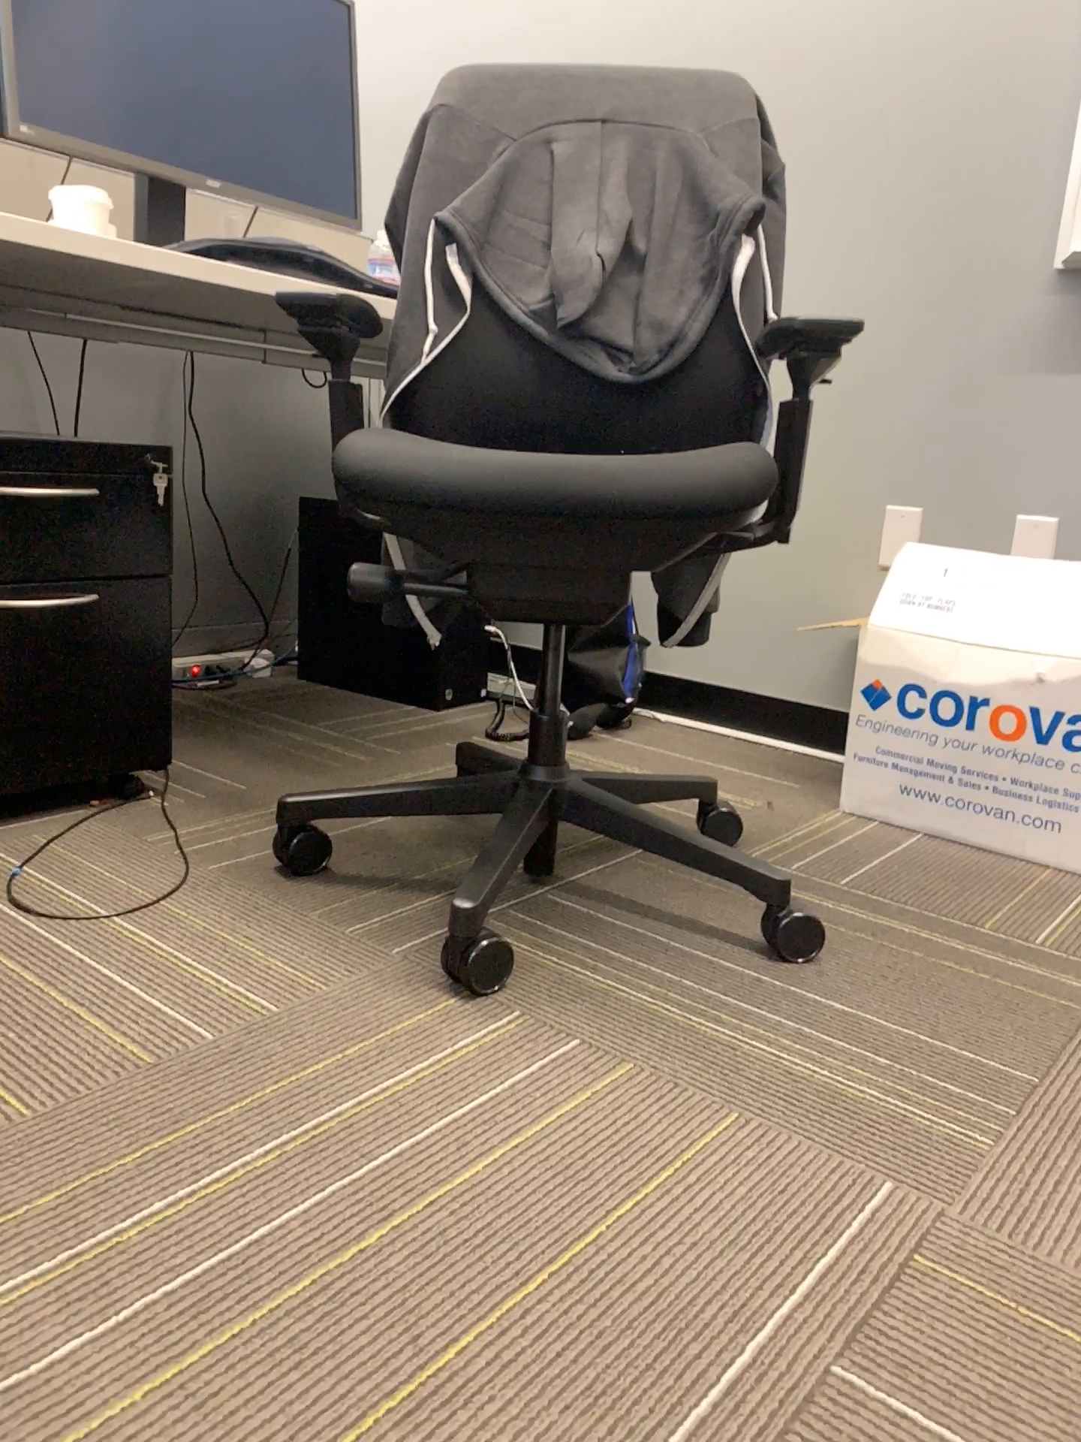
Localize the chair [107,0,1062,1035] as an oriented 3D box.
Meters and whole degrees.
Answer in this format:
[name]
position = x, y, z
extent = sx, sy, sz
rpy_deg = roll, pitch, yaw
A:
[chair]
position = 0.021, -0.352, 1.409
extent = 0.750, 1.076, 0.883
rpy_deg = 5, 13, 4
